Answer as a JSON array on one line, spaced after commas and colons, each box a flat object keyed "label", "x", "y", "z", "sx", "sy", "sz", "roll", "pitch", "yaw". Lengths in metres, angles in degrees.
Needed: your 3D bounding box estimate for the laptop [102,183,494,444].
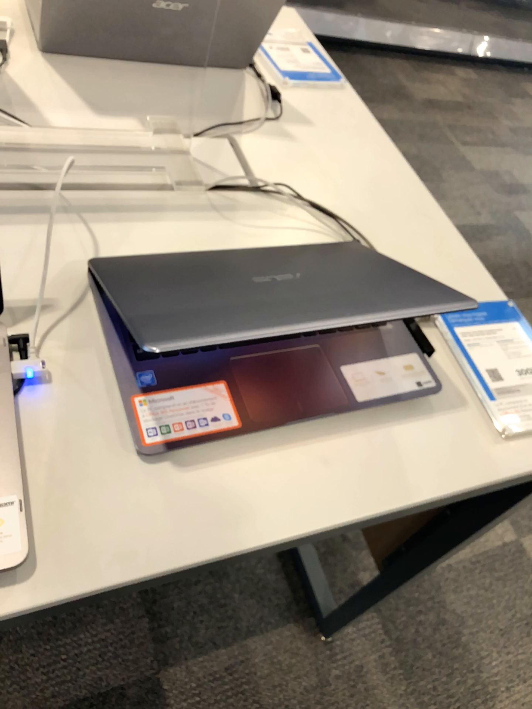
[{"label": "laptop", "x": 0.023, "y": -0.057, "z": 0.558, "sx": 0.301, "sy": 0.099, "sz": 0.201, "roll": -9, "pitch": 56, "yaw": -26}]
